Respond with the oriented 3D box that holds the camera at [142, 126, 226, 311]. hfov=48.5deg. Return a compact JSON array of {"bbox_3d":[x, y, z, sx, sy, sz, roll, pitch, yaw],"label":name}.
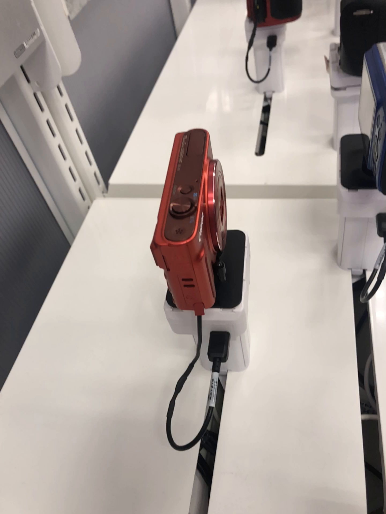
[{"bbox_3d":[0.000,-0.024,0.245,0.028,0.053,0.096,-3,48,11],"label":"camera"}]
